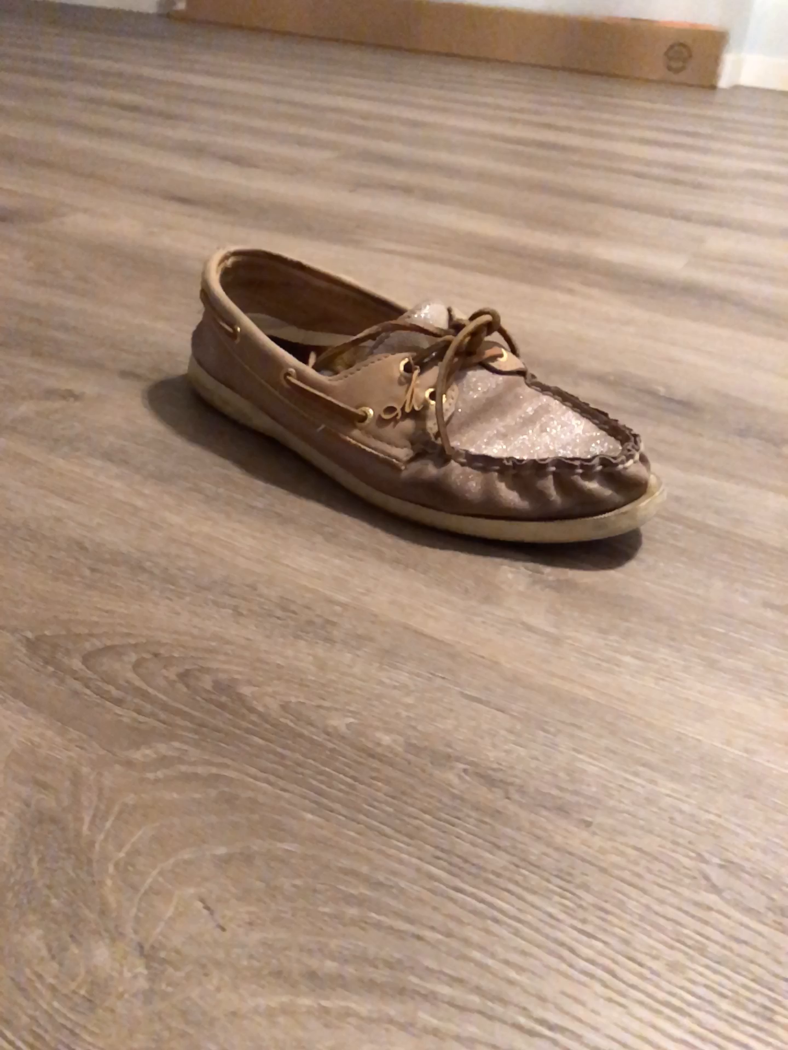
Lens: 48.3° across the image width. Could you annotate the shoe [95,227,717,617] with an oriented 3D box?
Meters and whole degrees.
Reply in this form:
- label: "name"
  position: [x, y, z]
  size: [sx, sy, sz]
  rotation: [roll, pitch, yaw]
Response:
- label: "shoe"
  position: [-0.007, -0.063, 0.384]
  size: [0.250, 0.070, 0.100]
  rotation: [25, 36, 29]
